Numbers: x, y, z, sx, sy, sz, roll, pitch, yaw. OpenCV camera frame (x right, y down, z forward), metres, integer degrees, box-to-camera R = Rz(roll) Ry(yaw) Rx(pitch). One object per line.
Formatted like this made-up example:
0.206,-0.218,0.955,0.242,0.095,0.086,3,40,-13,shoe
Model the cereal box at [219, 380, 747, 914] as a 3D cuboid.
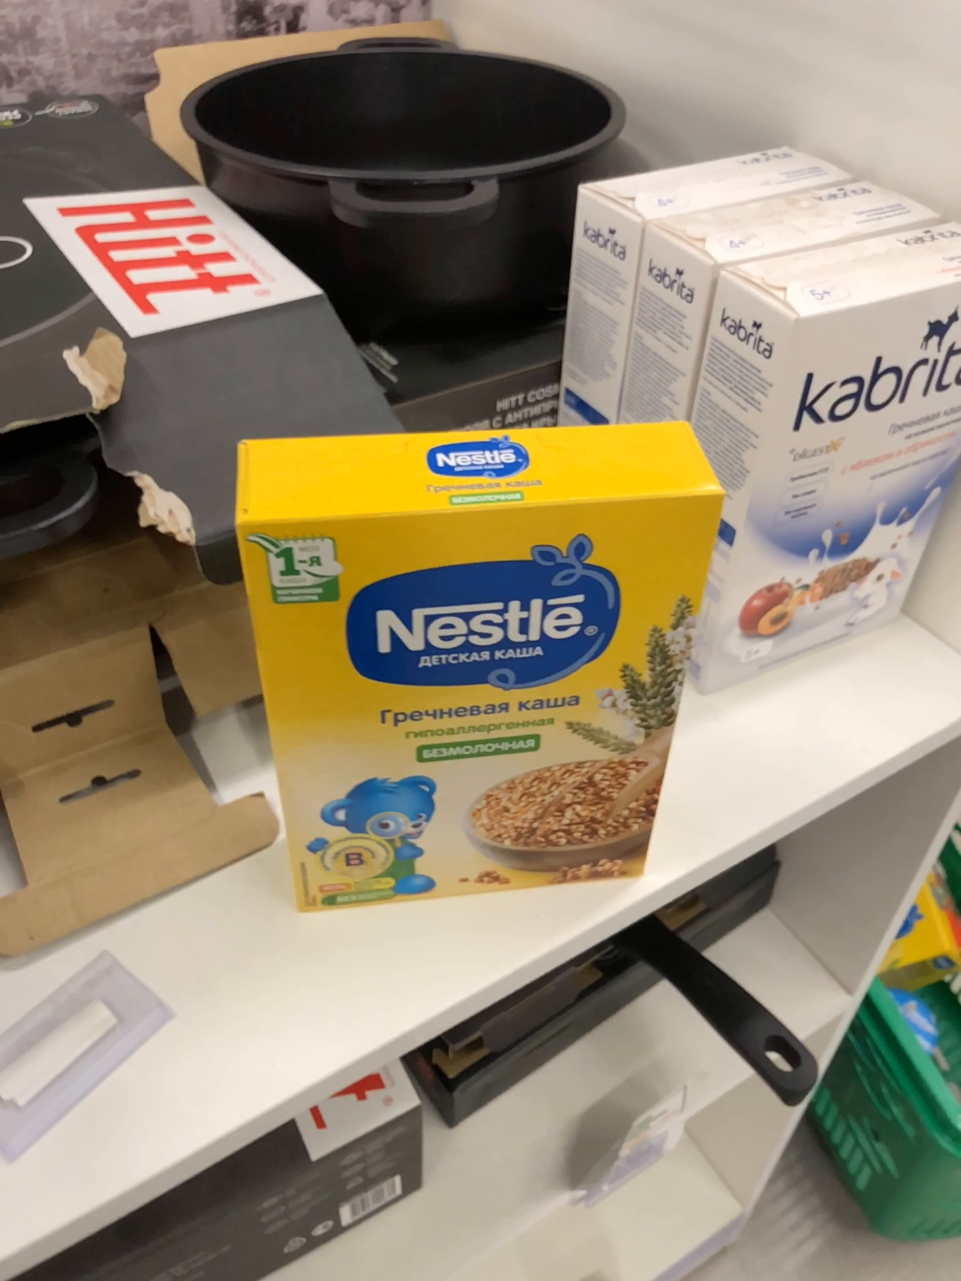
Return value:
-0.004,0.012,0.384,0.150,0.199,0.050,-4,42,-8,cereal box
